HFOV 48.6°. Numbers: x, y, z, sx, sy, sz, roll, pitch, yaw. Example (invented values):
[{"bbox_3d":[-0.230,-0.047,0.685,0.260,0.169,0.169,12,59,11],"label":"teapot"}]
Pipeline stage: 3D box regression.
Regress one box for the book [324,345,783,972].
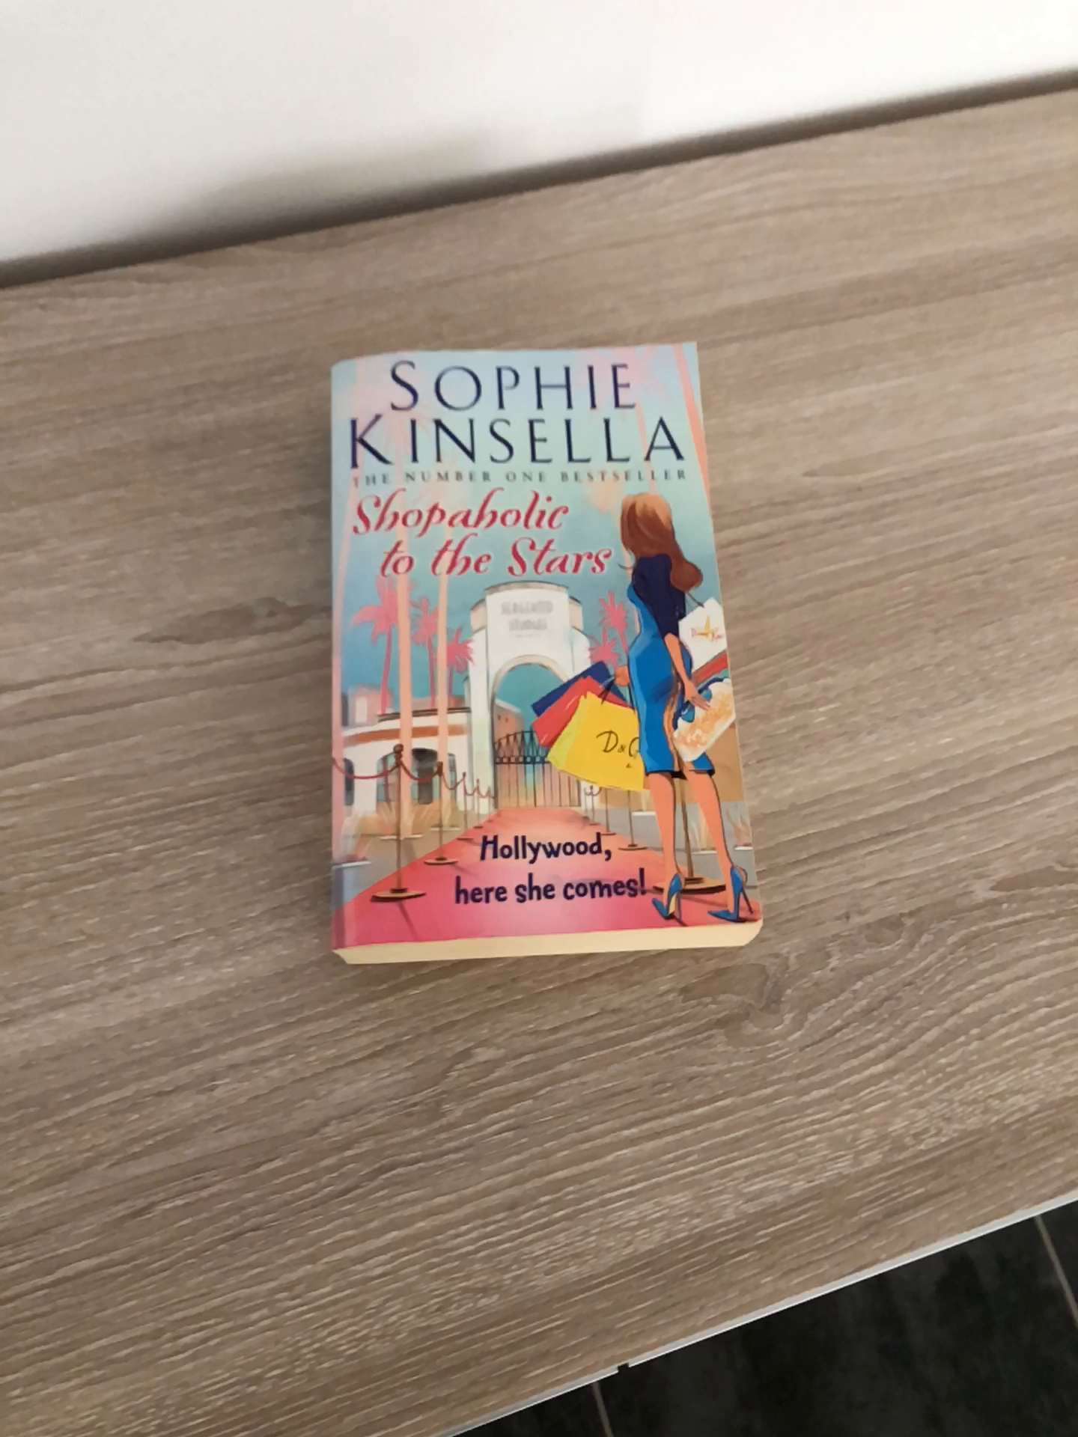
[{"bbox_3d":[-0.002,-0.025,0.389,0.130,0.040,0.200,-2,71,-6],"label":"book"}]
